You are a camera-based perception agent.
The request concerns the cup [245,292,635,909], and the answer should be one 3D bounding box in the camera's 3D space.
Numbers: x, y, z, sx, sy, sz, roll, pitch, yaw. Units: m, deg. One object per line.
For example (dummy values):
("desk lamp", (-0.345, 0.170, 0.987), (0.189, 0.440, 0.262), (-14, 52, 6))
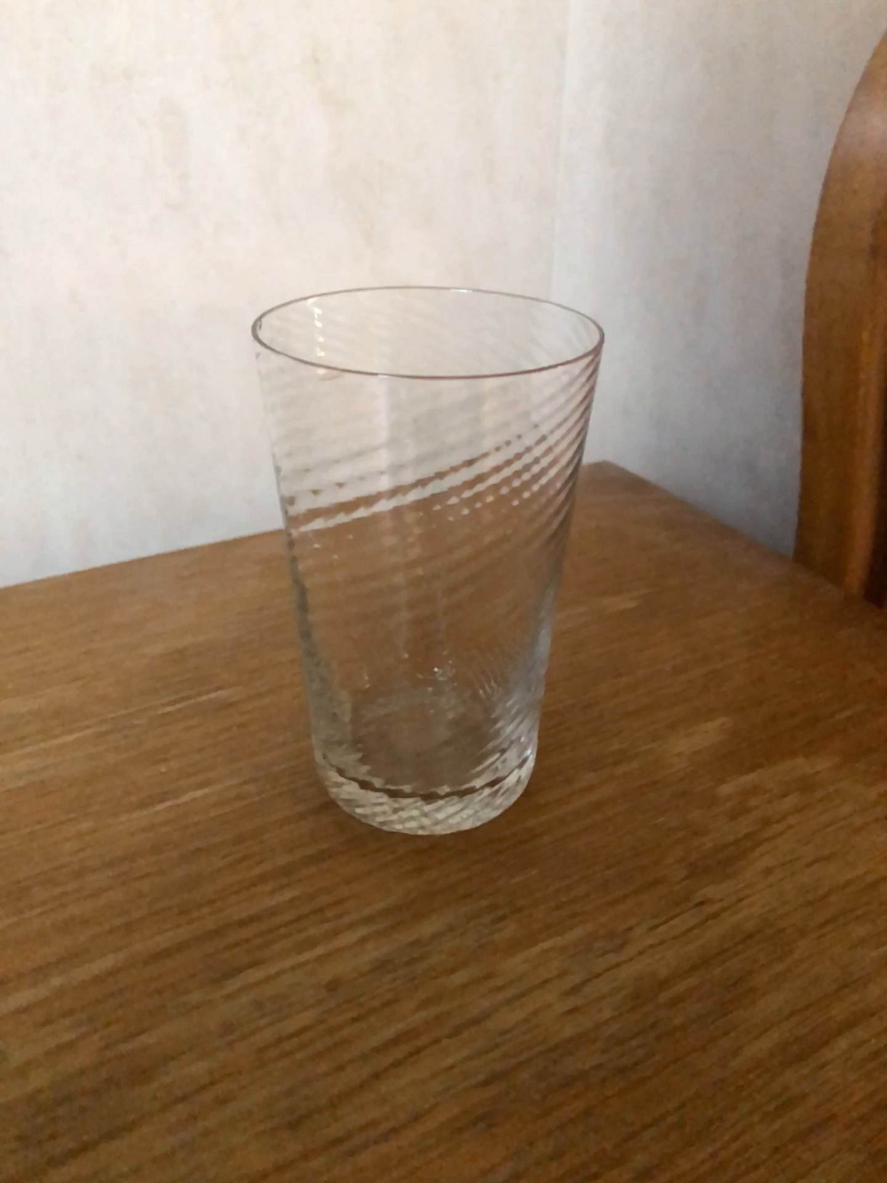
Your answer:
("cup", (-0.007, -0.002, 0.237), (0.070, 0.119, 0.080), (-4, 28, -9))
